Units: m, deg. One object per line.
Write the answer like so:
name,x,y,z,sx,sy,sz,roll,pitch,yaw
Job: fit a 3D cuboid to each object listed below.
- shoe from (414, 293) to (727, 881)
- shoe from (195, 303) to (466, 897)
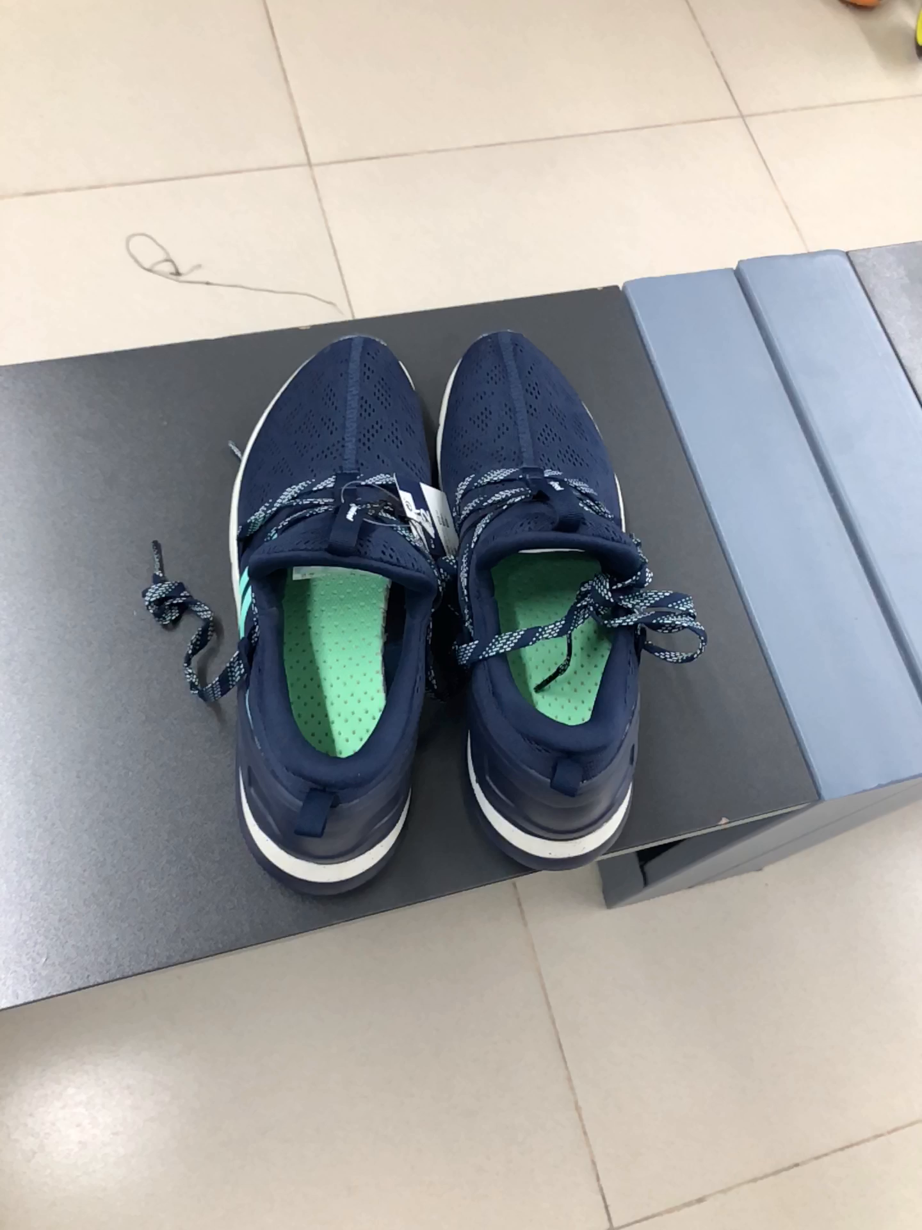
shoe,0.038,-0.012,0.487,0.100,0.120,0.251,-1,67,-8
shoe,-0.062,-0.006,0.481,0.100,0.120,0.251,-1,67,-8
